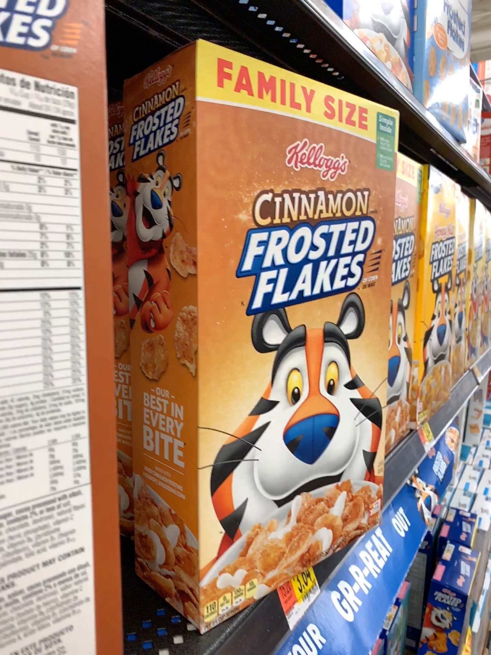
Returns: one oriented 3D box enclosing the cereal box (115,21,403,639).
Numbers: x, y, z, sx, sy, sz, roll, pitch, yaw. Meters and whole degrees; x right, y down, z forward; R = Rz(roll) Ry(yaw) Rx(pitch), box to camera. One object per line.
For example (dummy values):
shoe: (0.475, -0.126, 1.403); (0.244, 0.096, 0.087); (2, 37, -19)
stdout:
cereal box: (0.022, 0.000, 0.372); (0.200, 0.340, 0.080); (-6, 7, -40)
